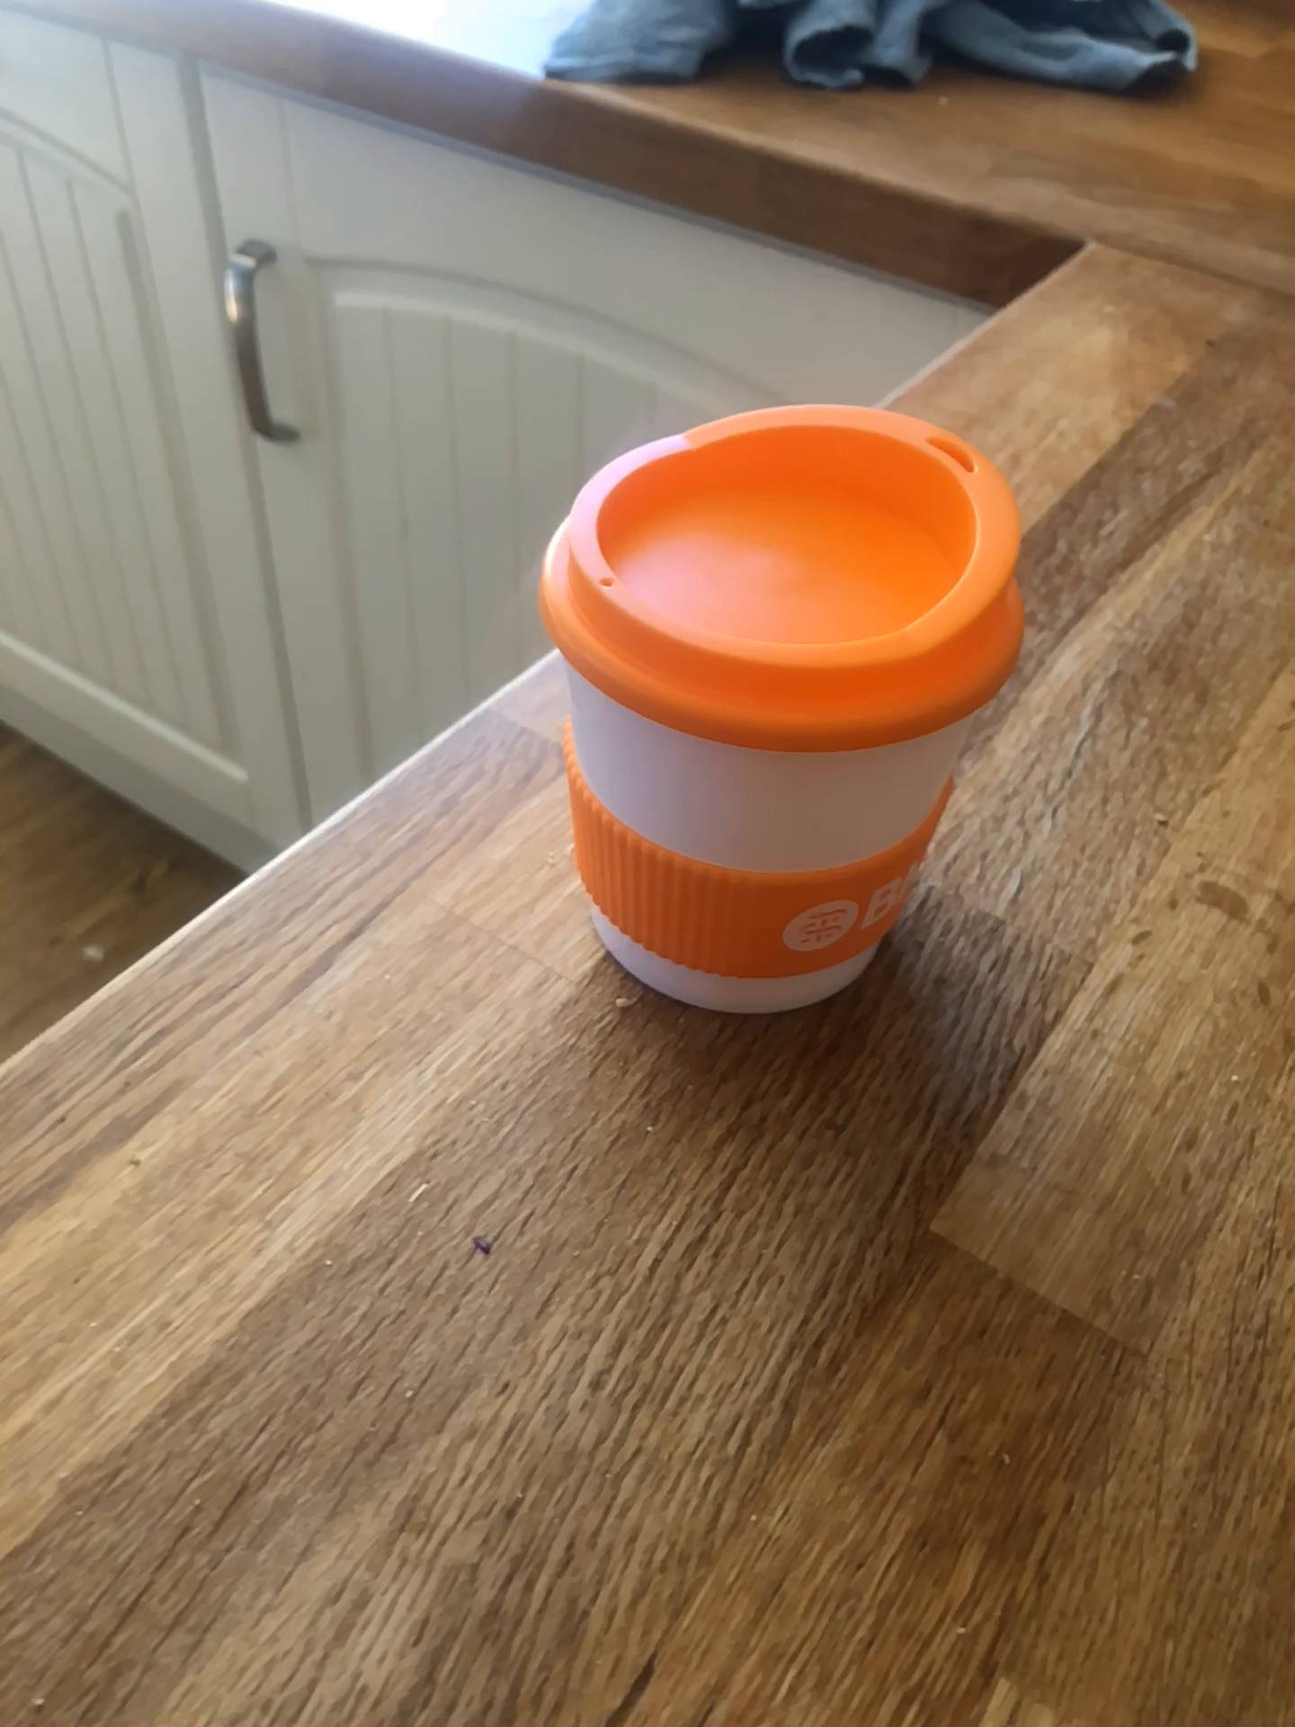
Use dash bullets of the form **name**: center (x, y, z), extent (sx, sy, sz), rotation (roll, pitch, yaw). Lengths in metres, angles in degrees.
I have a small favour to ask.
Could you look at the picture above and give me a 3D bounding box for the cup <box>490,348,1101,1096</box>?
- **cup**: center (0.027, -0.029, 0.280), extent (0.080, 0.094, 0.086), rotation (2, 43, -2)
